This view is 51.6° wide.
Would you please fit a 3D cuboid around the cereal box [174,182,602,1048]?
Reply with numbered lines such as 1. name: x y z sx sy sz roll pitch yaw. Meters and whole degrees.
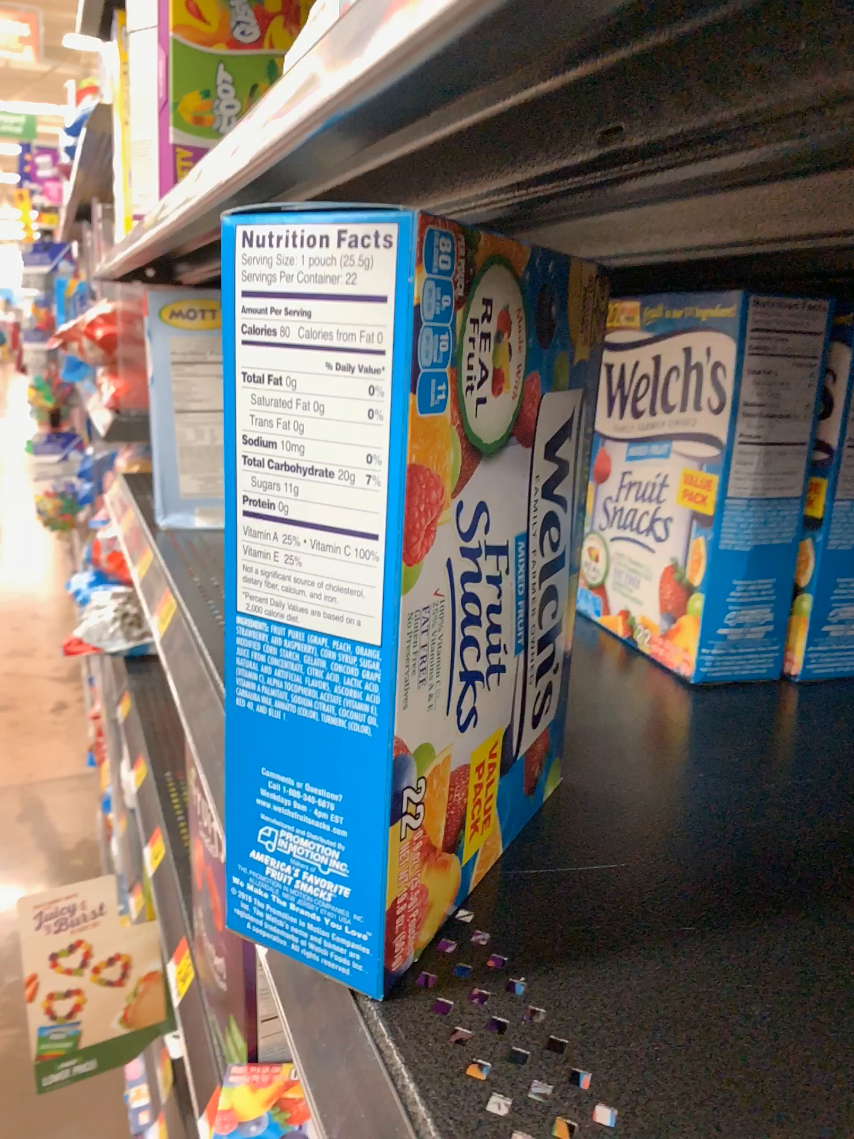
1. cereal box: -0.005 0.003 0.311 0.060 0.229 0.170 10 15 26
